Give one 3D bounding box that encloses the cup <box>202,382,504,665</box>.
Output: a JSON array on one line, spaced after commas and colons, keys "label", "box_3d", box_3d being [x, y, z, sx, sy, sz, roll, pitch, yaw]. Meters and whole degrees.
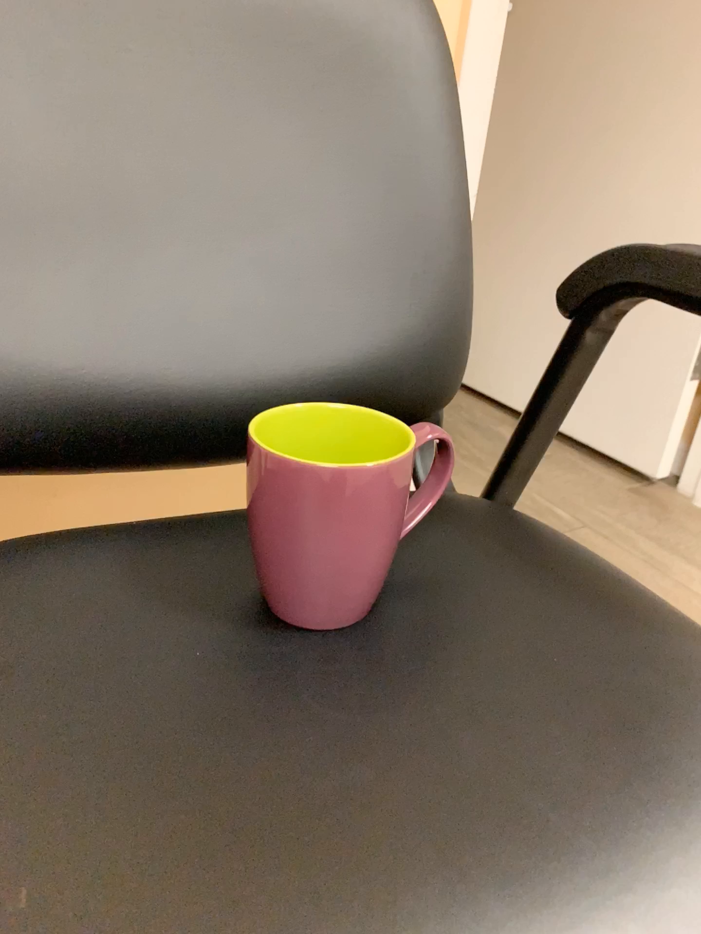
[{"label": "cup", "box_3d": [-0.001, 0.024, 0.427, 0.144, 0.109, 0.090, -13, 32, -35]}]
